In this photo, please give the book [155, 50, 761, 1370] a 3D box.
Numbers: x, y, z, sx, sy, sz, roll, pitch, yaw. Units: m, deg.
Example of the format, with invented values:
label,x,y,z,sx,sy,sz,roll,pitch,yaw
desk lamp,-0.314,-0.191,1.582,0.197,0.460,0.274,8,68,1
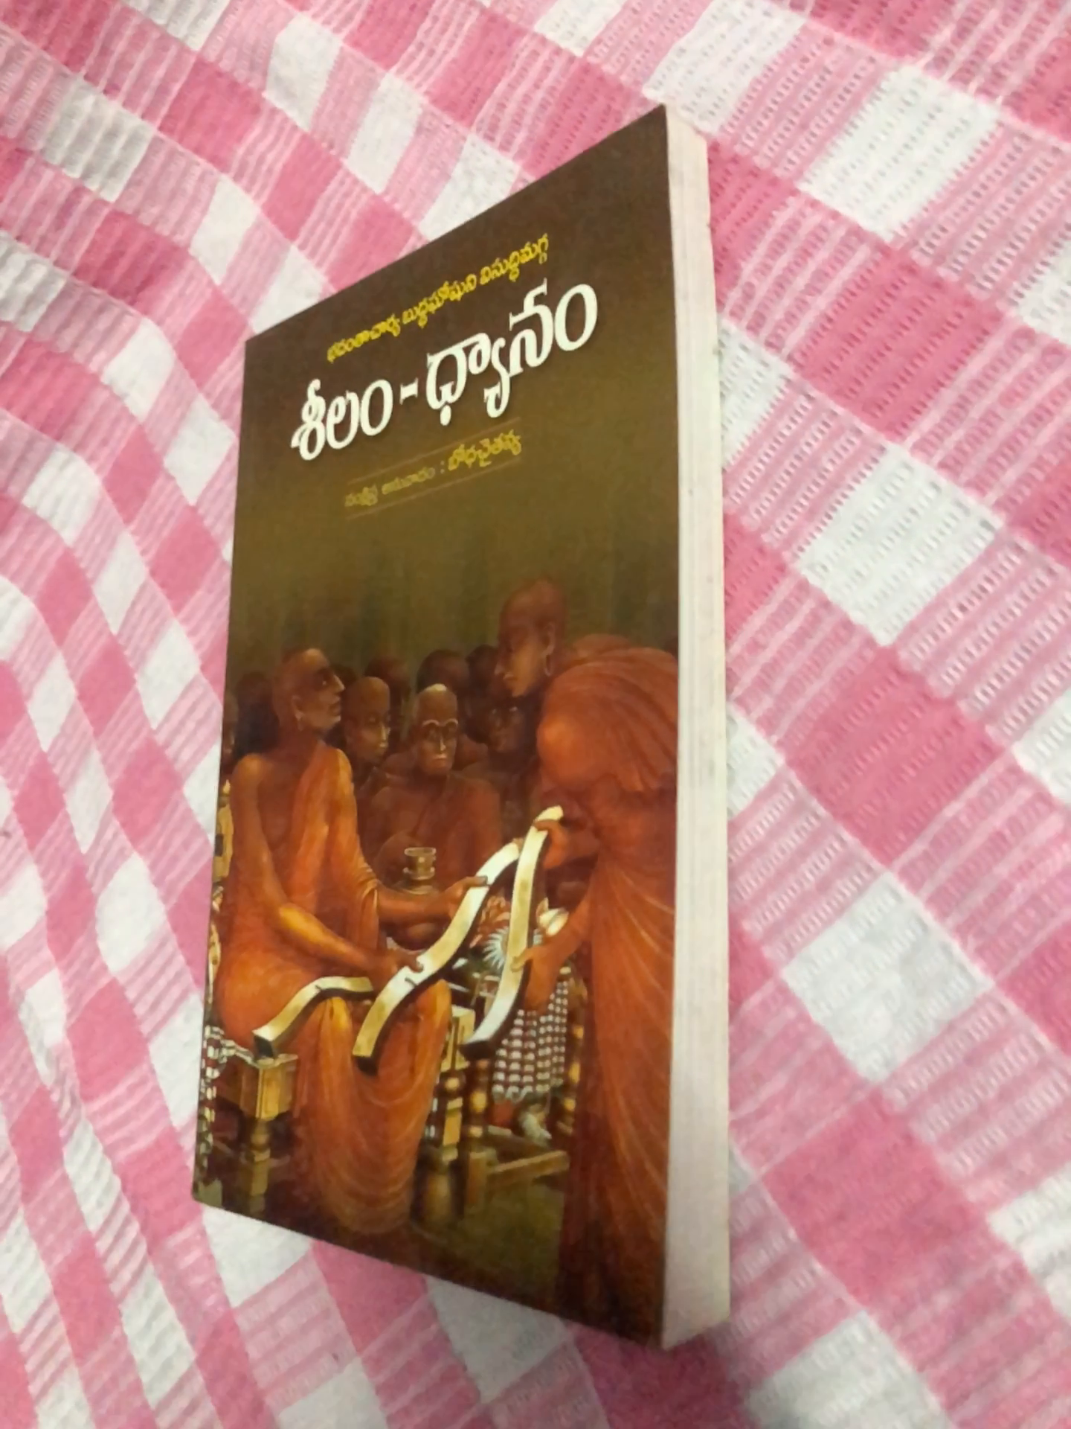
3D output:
label,x,y,z,sx,sy,sz,roll,pitch,yaw
book,-0.024,-0.002,0.240,0.140,0.020,0.210,-8,78,41
